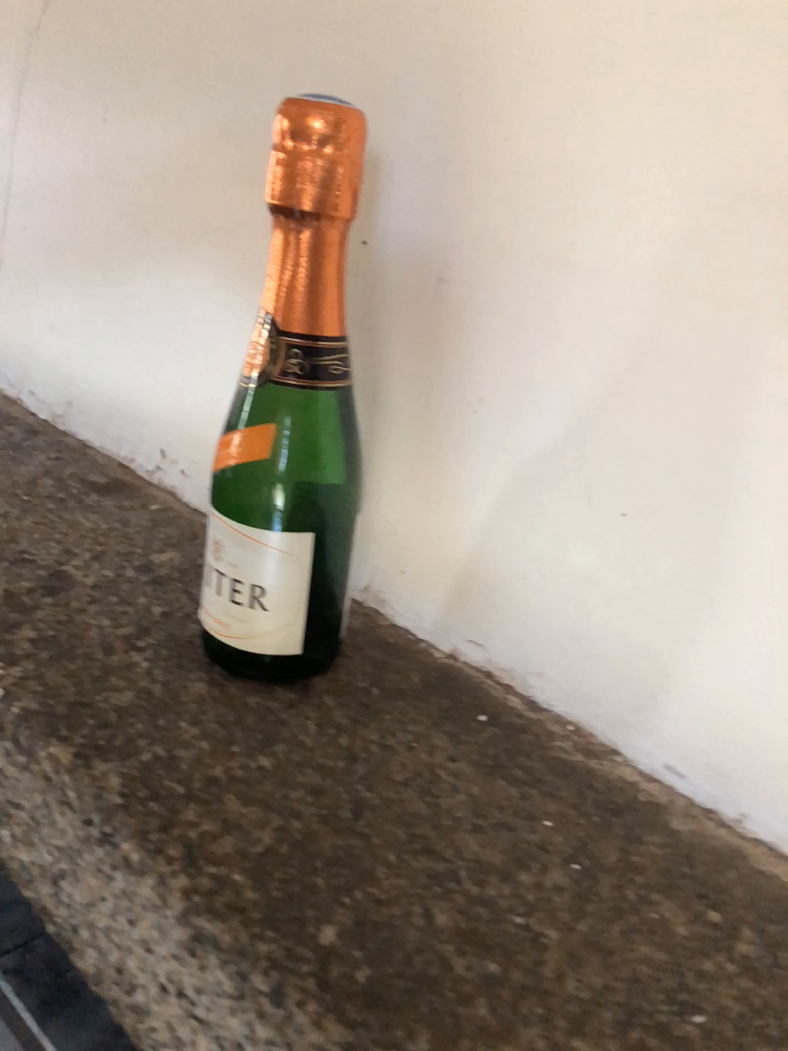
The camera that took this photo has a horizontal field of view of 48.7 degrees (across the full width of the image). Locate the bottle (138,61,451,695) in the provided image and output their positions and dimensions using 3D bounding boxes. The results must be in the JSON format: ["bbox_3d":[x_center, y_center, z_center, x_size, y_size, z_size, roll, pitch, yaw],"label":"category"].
[{"bbox_3d":[-0.041,-0.049,0.314,0.070,0.199,0.060,-10,27,-43],"label":"bottle"}]
